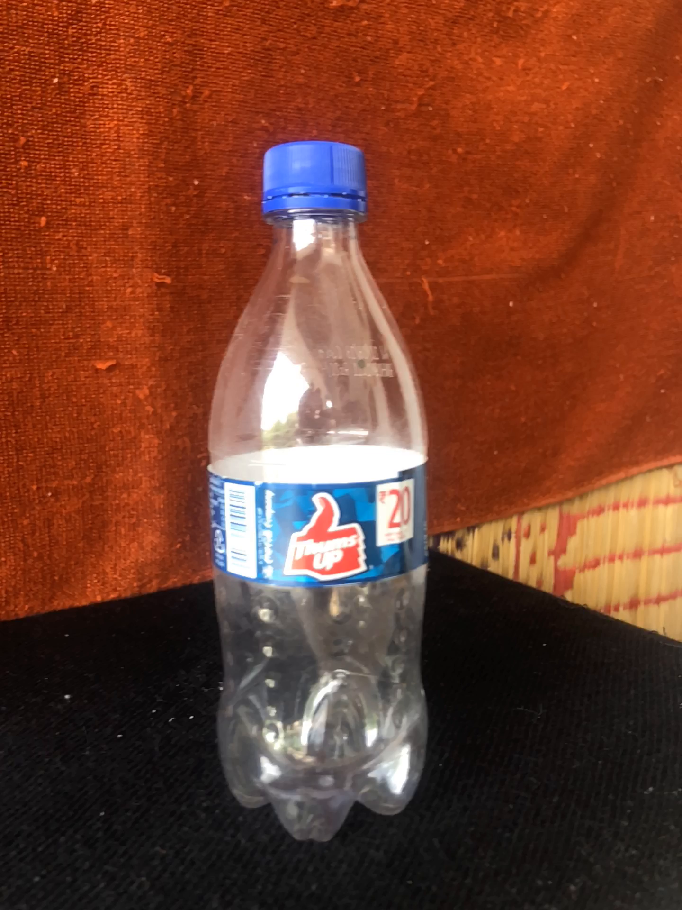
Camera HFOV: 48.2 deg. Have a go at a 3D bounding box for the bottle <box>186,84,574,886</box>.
[{"bbox_3d":[0.004,0.005,0.167,0.060,0.140,0.050,-5,13,-34],"label":"bottle"}]
